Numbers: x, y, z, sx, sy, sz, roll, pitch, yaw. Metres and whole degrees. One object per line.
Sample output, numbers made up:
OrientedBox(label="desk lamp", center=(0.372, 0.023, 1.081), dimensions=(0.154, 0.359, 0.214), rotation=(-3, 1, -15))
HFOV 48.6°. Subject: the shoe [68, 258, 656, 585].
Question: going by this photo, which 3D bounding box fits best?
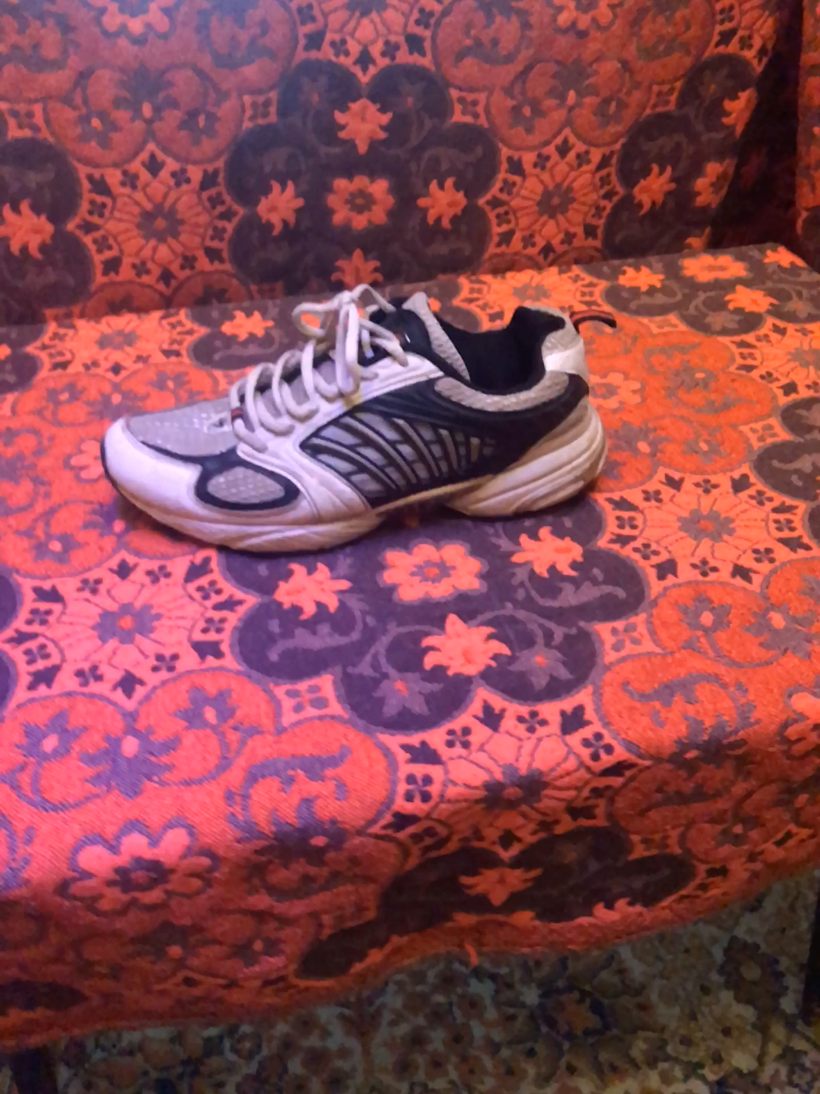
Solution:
OrientedBox(label="shoe", center=(-0.029, -0.080, 0.537), dimensions=(0.300, 0.109, 0.121), rotation=(-8, 41, -10))
